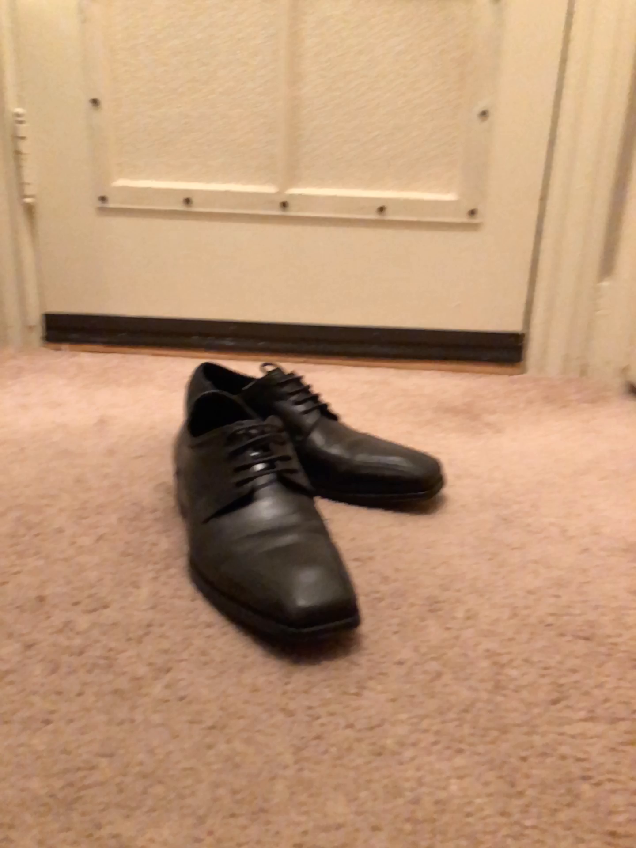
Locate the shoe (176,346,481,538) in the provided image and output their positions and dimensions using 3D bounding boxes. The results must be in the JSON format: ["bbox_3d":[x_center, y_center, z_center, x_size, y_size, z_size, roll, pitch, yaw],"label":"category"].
[{"bbox_3d":[0.003,0.005,0.734,0.297,0.110,0.115,14,23,29],"label":"shoe"}]

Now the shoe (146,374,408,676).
[{"bbox_3d":[-0.053,0.054,0.559,0.110,0.107,0.284,-6,22,-23],"label":"shoe"}]
